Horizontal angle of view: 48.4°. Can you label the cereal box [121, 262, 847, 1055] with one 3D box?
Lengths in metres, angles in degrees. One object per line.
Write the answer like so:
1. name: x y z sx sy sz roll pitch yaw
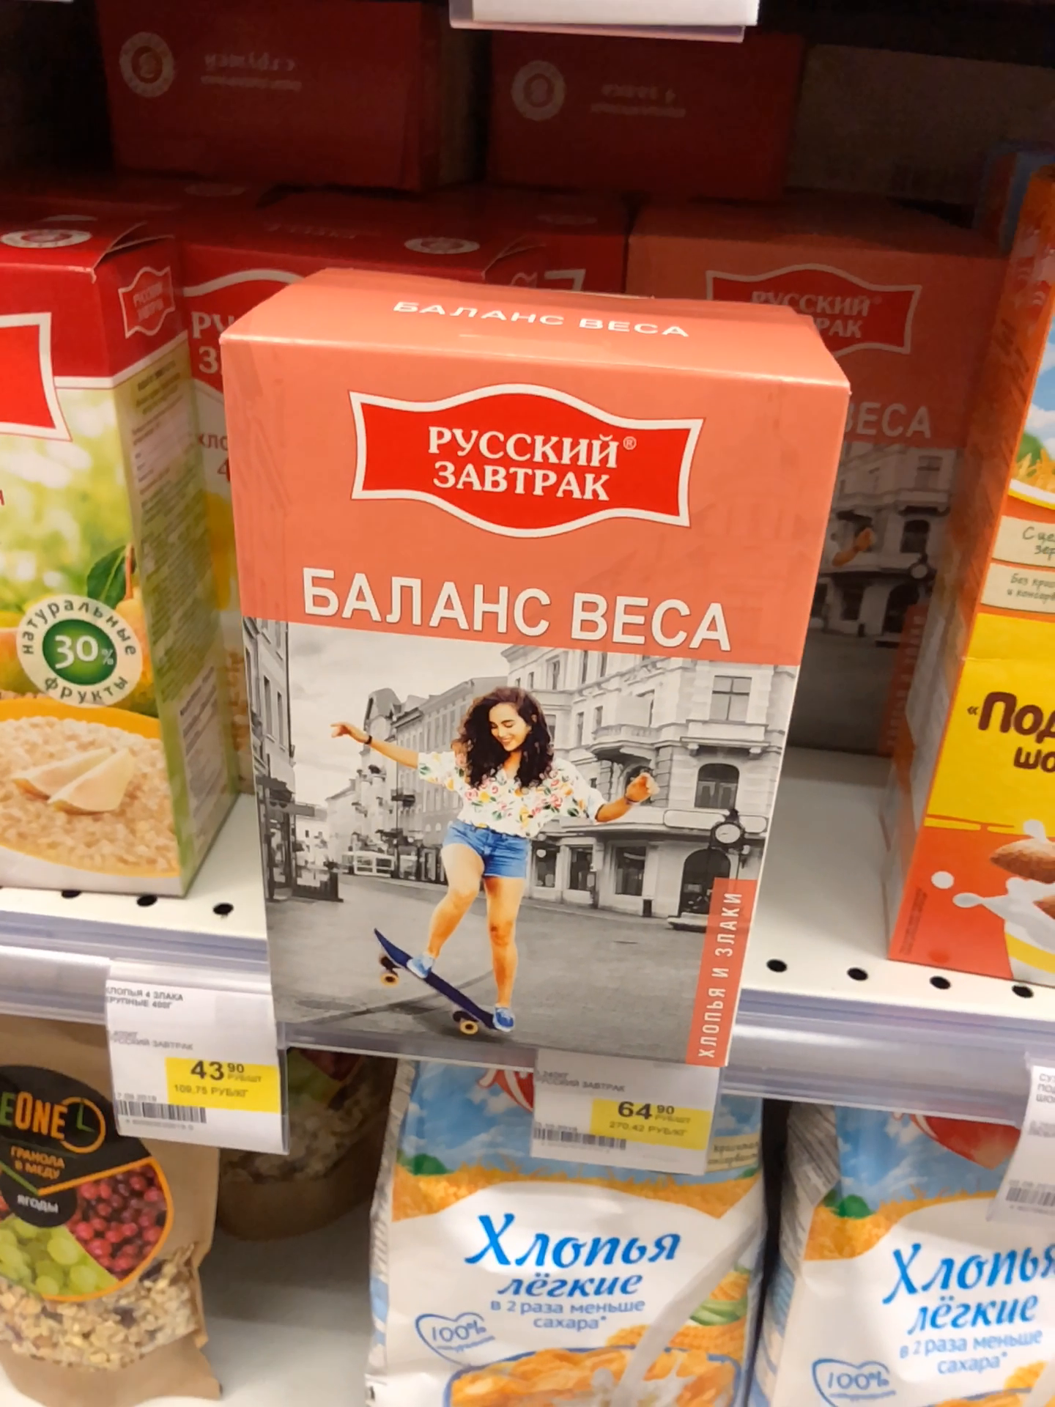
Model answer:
1. cereal box: -0.010 -0.008 0.299 0.140 0.179 0.070 5 30 3
